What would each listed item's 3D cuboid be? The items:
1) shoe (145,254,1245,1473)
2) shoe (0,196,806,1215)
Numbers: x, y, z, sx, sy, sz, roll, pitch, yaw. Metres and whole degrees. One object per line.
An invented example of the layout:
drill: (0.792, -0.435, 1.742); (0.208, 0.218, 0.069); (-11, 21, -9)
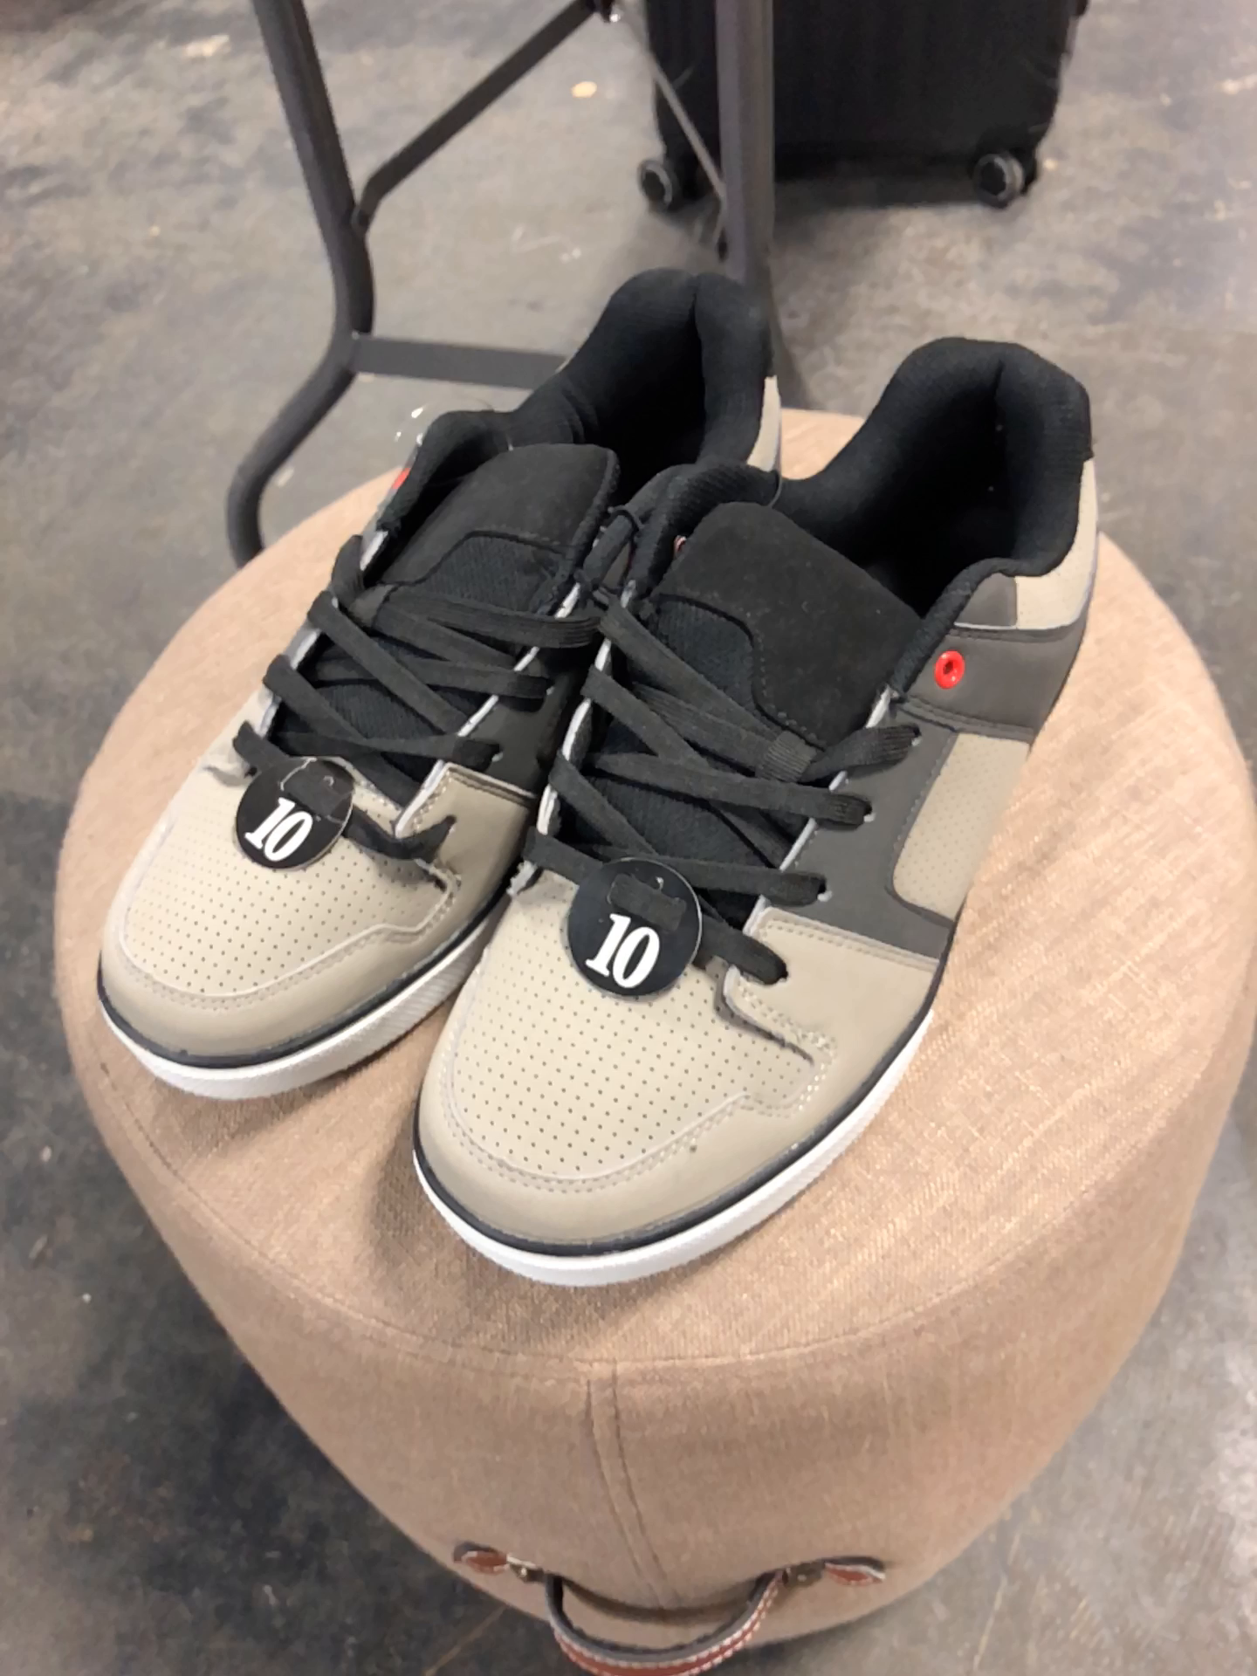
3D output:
shoe: (0.040, -0.019, 0.374); (0.120, 0.099, 0.311); (24, 59, 24)
shoe: (-0.069, -0.052, 0.402); (0.120, 0.119, 0.261); (27, 60, 25)
